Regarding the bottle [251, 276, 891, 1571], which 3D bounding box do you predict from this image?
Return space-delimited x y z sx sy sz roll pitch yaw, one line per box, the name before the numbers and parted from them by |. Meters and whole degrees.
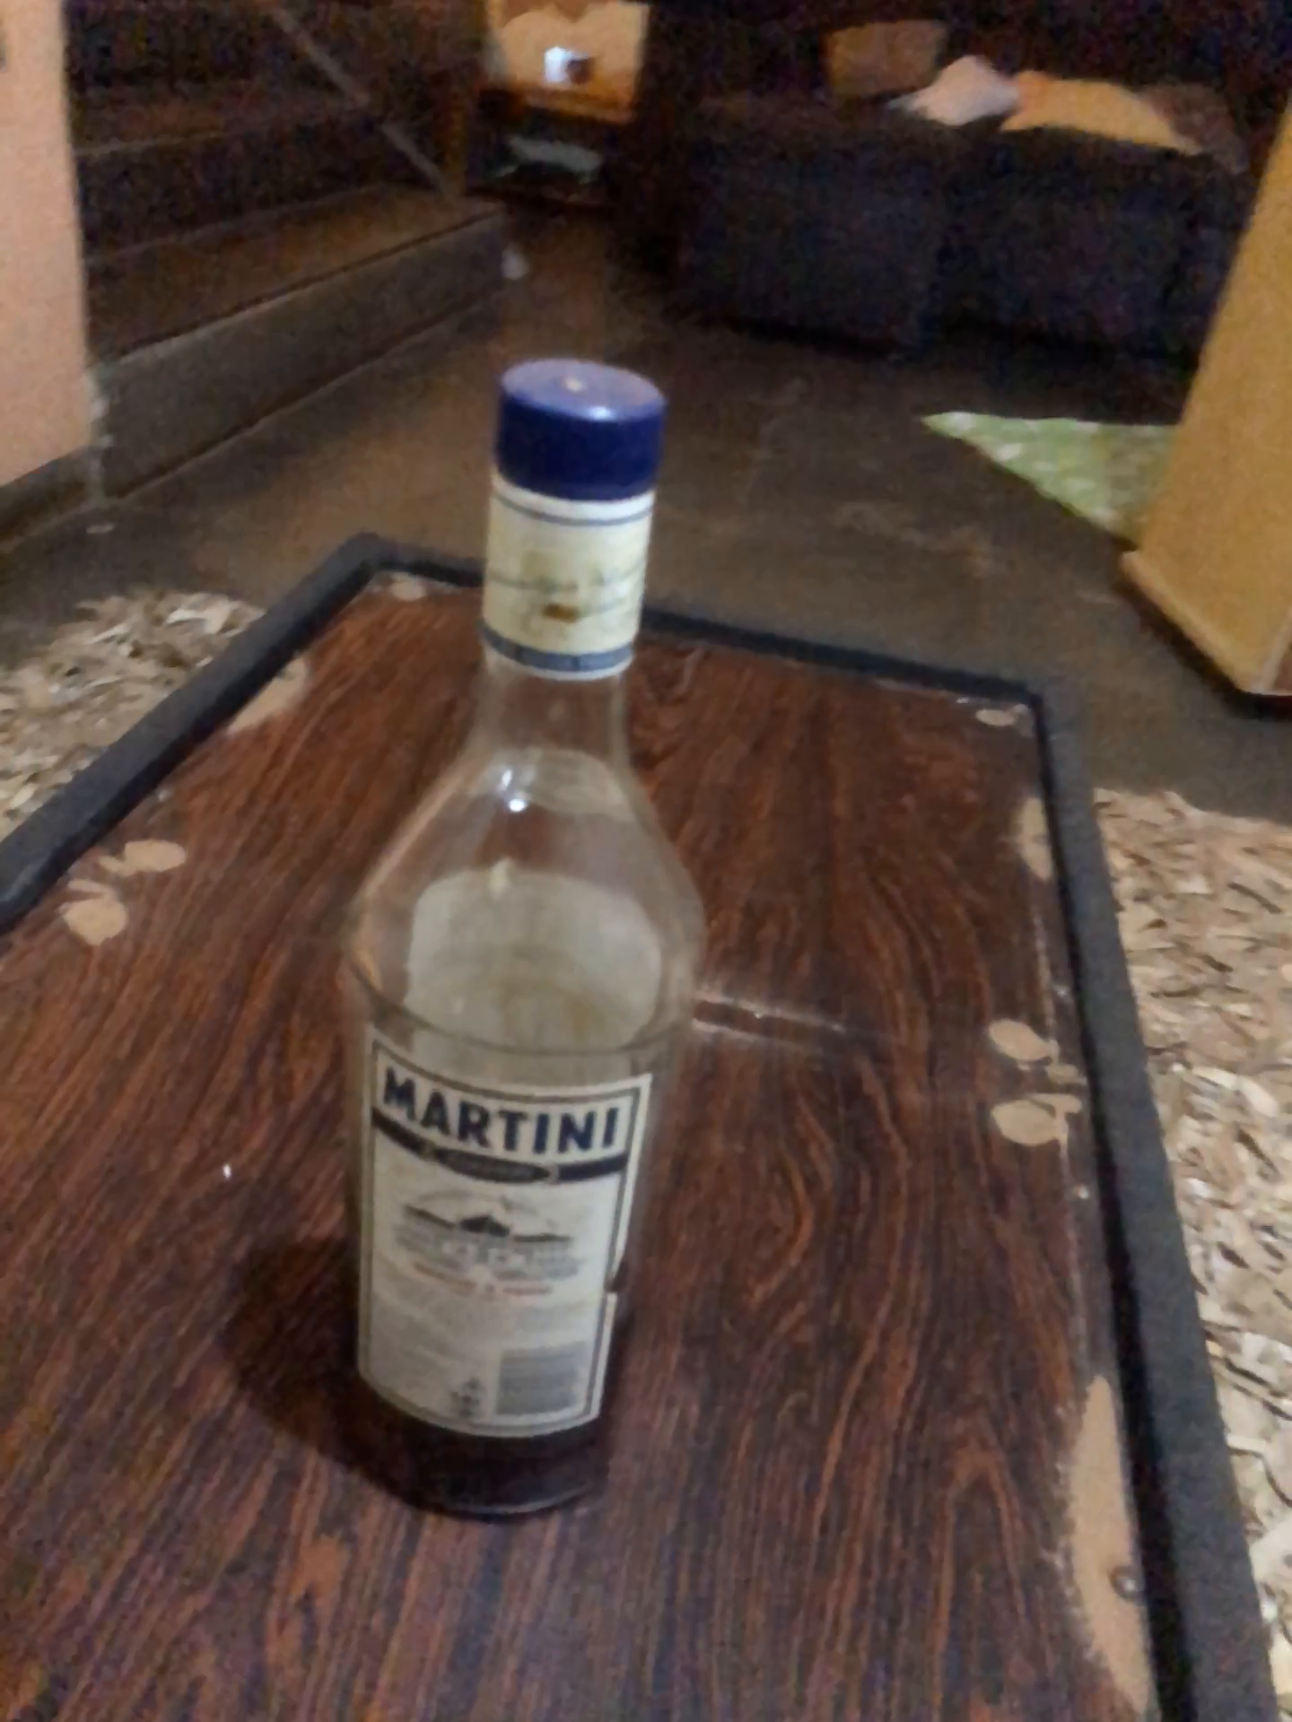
bottle | -0.029 0.029 0.348 0.100 0.298 0.091 15 31 9
